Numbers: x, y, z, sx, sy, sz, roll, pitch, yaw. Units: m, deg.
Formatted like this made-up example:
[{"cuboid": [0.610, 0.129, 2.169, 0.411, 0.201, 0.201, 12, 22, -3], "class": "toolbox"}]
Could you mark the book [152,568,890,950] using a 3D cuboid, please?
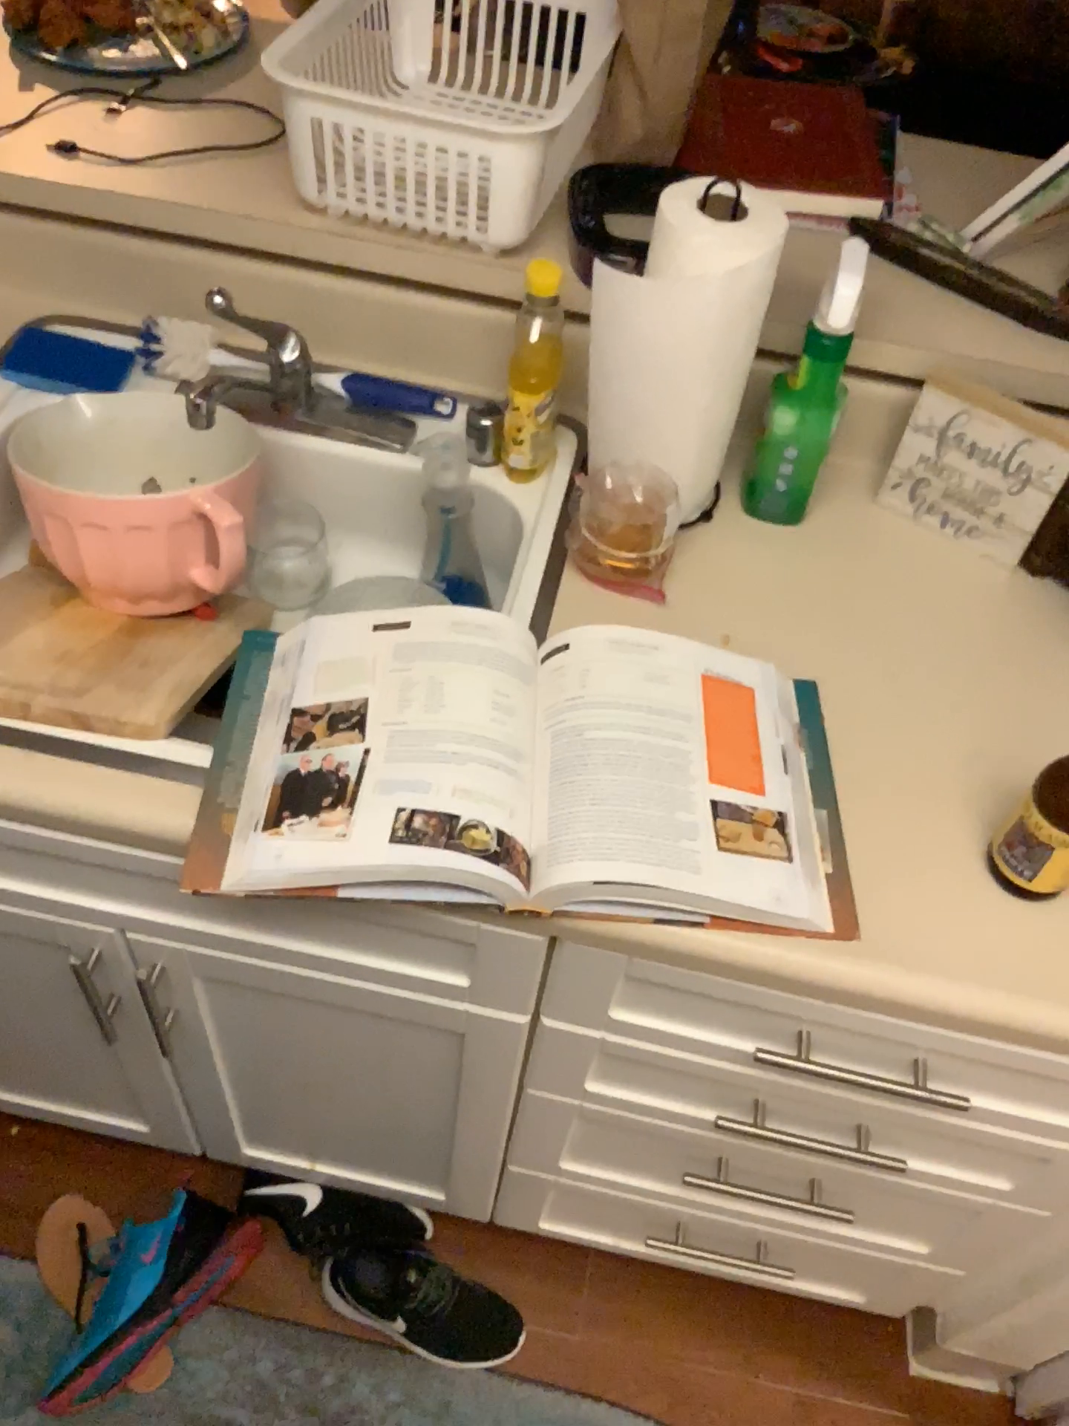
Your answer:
[{"cuboid": [-0.004, 0.027, 0.968, 0.530, 0.040, 0.310, 5, 50, -4], "class": "book"}]
